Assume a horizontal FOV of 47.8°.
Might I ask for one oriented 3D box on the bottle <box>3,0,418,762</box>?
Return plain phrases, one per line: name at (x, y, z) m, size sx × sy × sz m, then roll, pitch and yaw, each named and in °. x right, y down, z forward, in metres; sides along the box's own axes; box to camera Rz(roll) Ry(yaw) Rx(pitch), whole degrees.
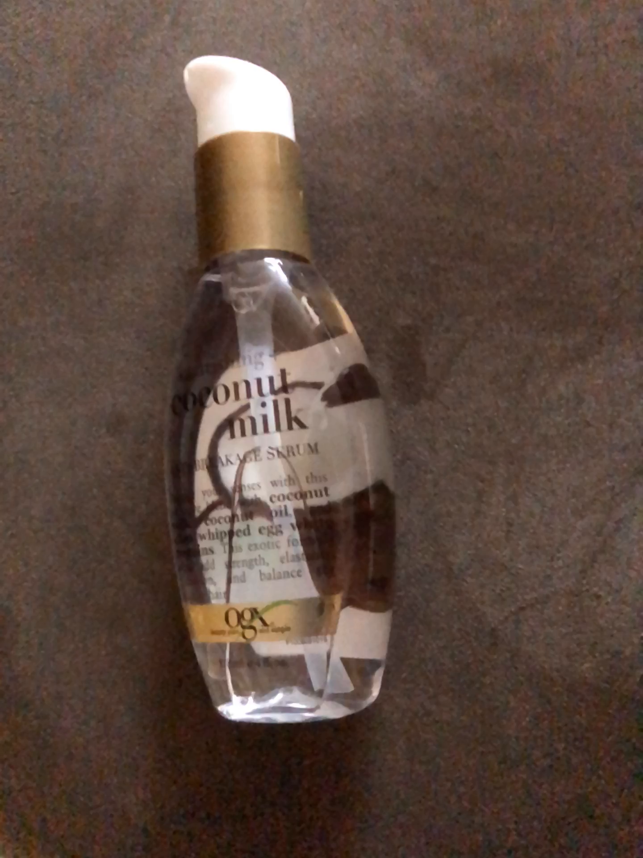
bottle at (-0.026, -0.017, 0.169) m, size 0.070 × 0.040 × 0.170 m, roll -8°, pitch 84°, yaw 17°
